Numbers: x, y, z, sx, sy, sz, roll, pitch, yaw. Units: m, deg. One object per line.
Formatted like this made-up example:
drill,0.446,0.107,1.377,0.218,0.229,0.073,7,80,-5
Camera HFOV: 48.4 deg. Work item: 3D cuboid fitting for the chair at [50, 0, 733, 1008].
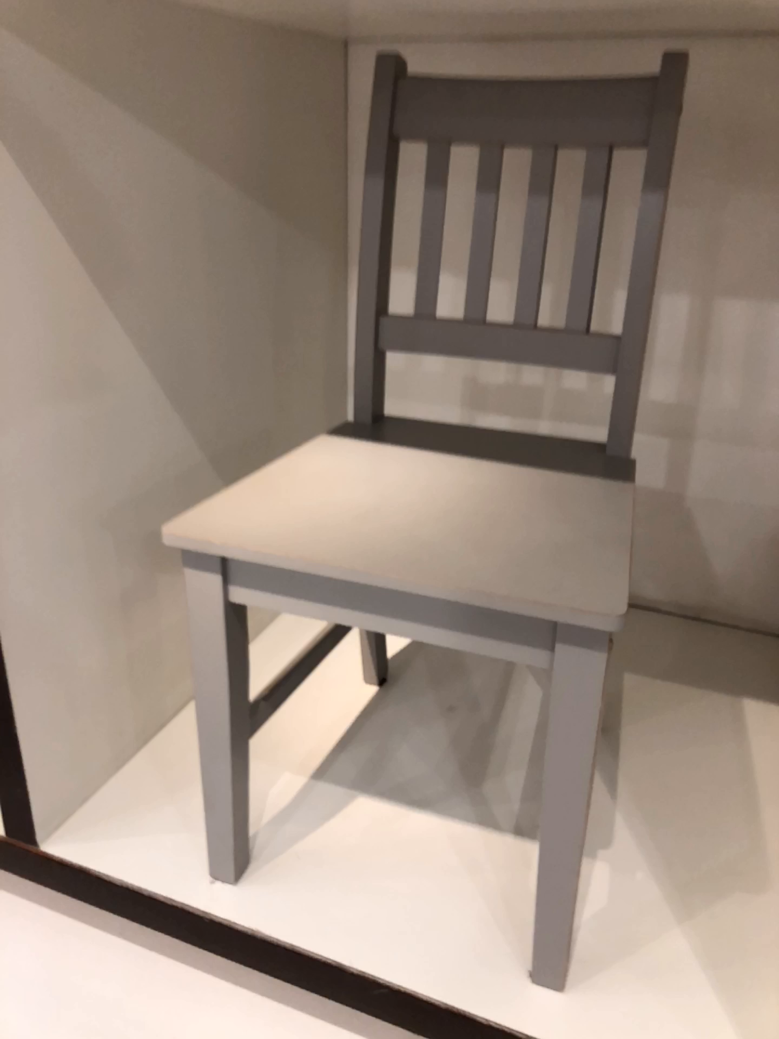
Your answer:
chair,0.066,-0.078,0.976,0.460,0.864,0.584,9,25,18
